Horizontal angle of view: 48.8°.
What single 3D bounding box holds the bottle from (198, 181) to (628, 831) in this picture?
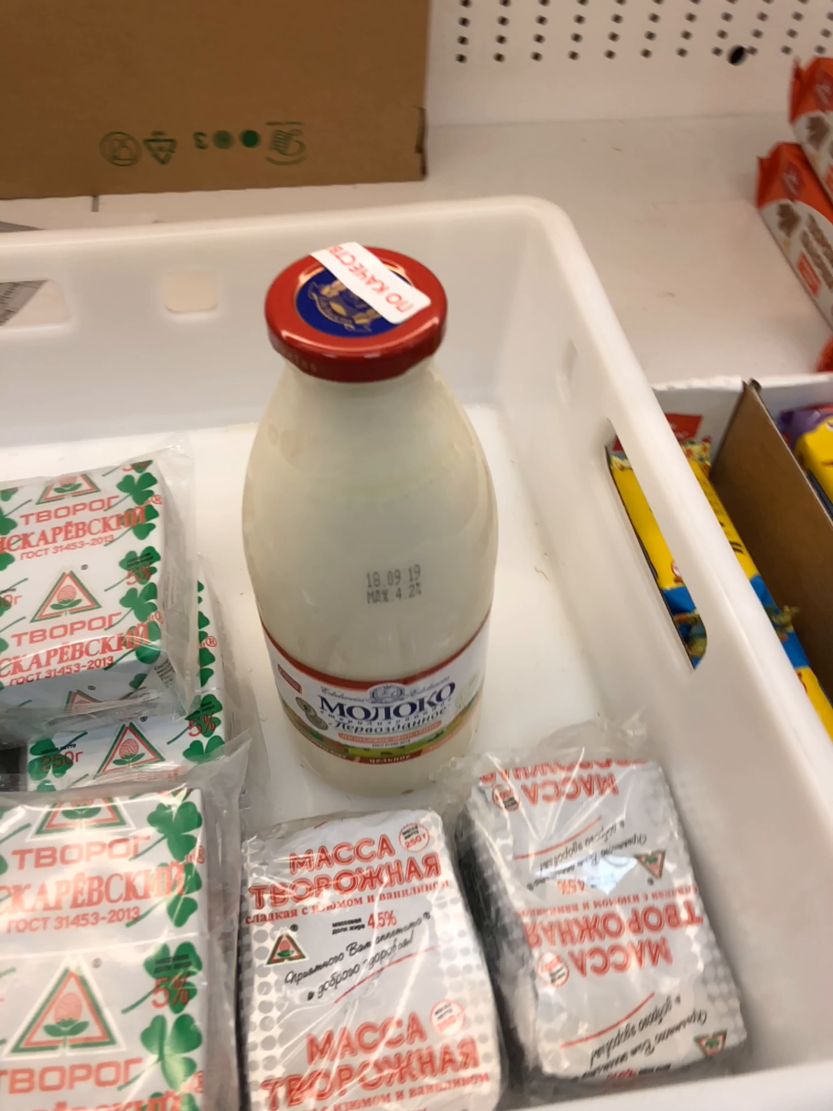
[{"bbox_3d":[-0.009,0.001,0.300,0.090,0.209,0.090,2,51,-2],"label":"bottle"}]
